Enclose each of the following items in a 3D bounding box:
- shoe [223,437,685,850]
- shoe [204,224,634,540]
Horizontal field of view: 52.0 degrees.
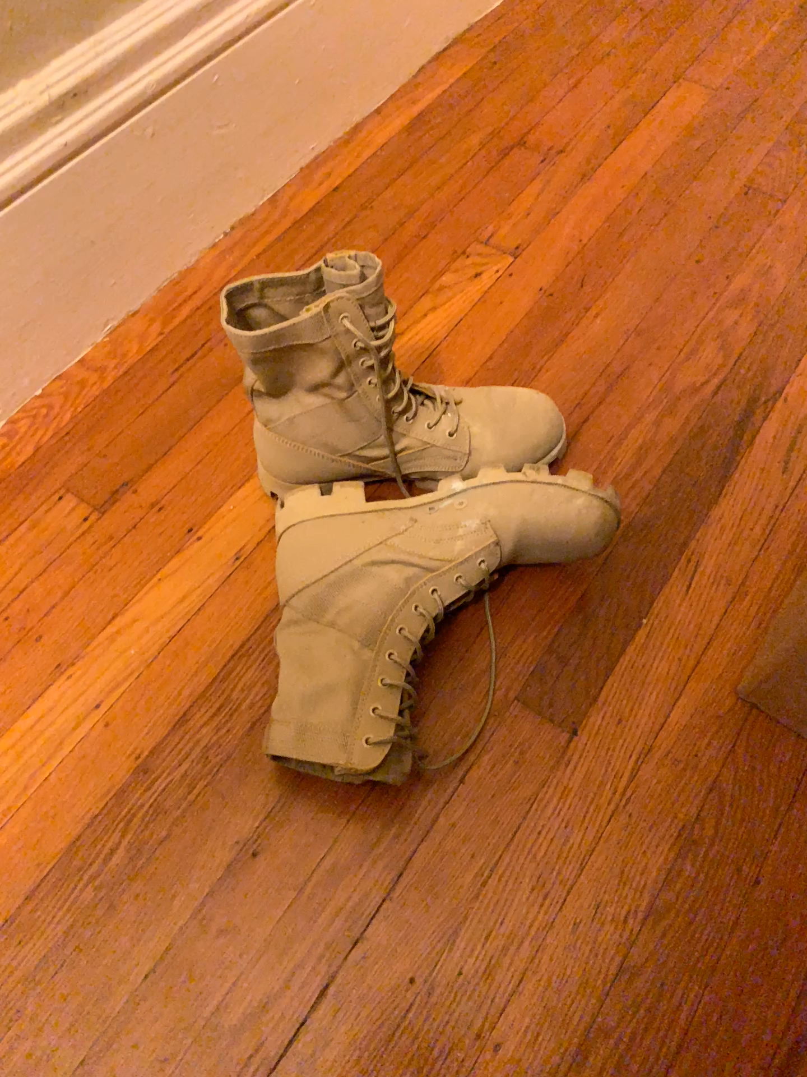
[{"bbox_3d":[0.022,0.077,0.620,0.290,0.110,0.261,-5,66,-1],"label":"shoe"},{"bbox_3d":[0.007,-0.117,0.669,0.290,0.199,0.120,-7,60,-2],"label":"shoe"}]
